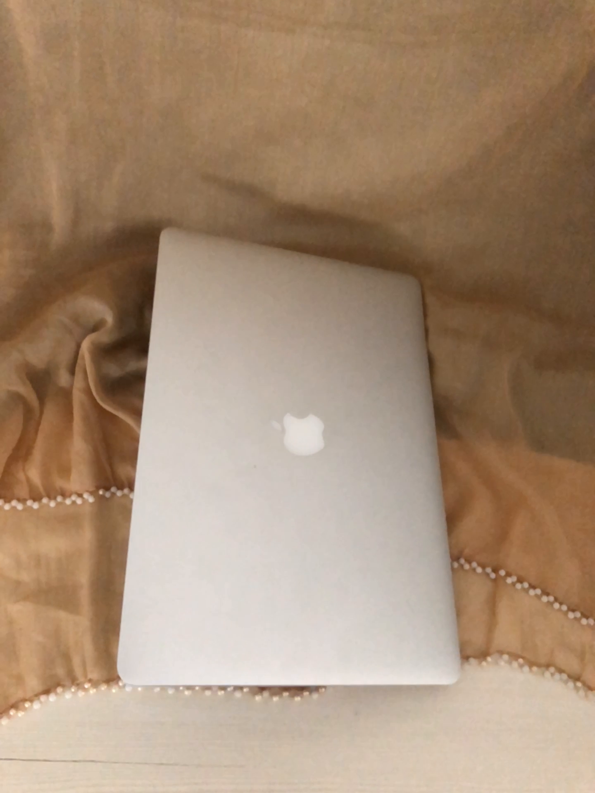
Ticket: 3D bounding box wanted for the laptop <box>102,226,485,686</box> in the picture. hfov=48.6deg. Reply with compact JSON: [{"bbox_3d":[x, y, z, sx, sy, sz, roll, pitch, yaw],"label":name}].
[{"bbox_3d":[-0.004,0.032,0.516,0.239,0.063,0.352,2,64,-4],"label":"laptop"}]
